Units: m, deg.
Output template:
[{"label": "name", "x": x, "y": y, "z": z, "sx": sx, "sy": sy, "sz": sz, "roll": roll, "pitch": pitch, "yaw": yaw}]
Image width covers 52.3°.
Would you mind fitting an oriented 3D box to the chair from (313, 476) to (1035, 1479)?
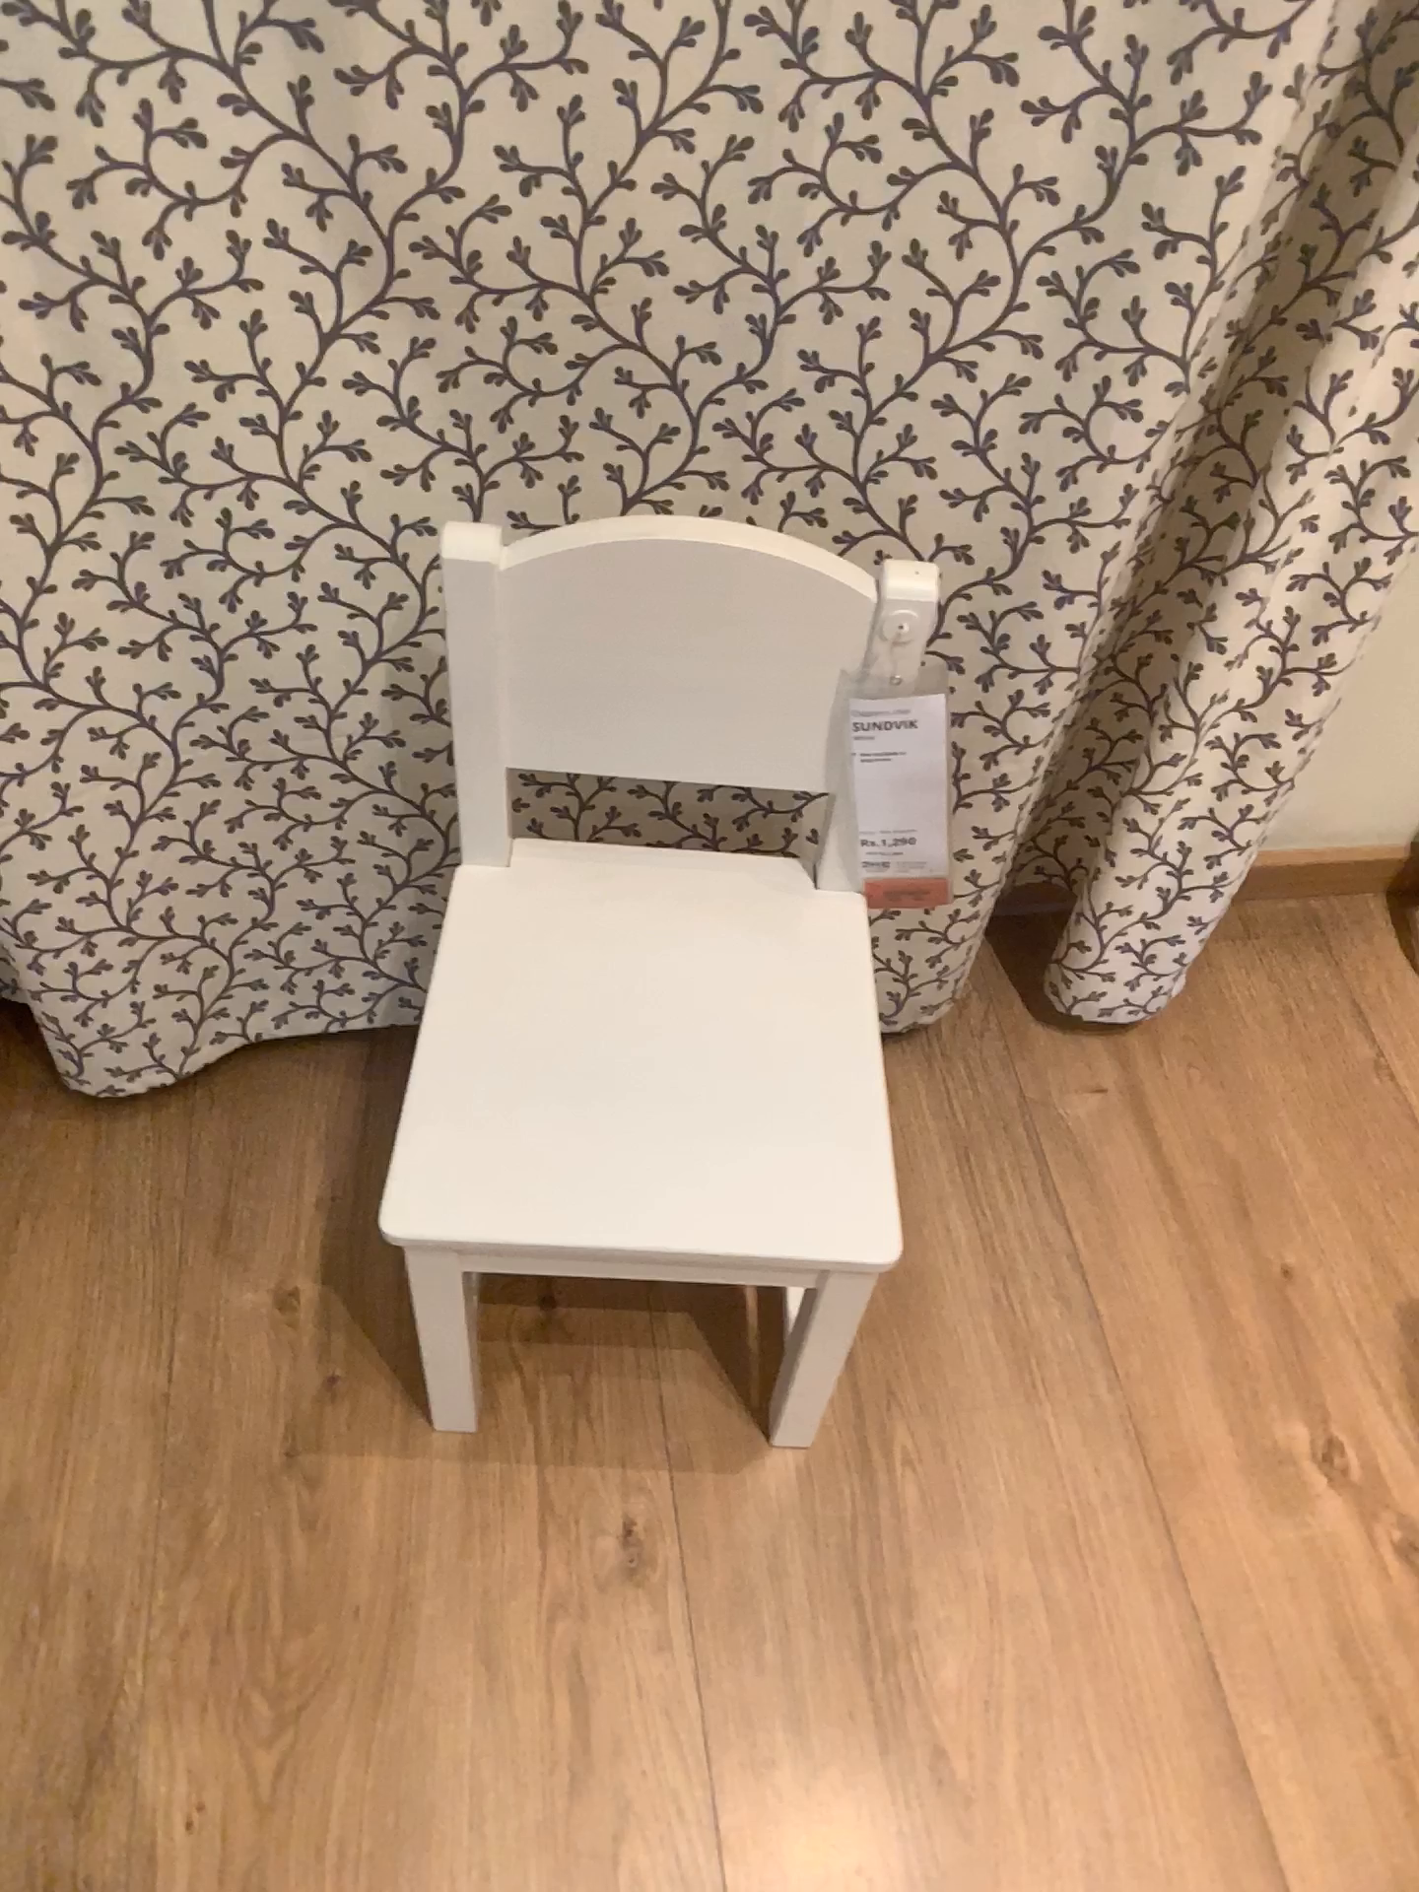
[{"label": "chair", "x": -0.036, "y": 0.066, "z": 0.850, "sx": 0.270, "sy": 0.568, "sz": 0.291, "roll": 3, "pitch": 51, "yaw": -4}]
